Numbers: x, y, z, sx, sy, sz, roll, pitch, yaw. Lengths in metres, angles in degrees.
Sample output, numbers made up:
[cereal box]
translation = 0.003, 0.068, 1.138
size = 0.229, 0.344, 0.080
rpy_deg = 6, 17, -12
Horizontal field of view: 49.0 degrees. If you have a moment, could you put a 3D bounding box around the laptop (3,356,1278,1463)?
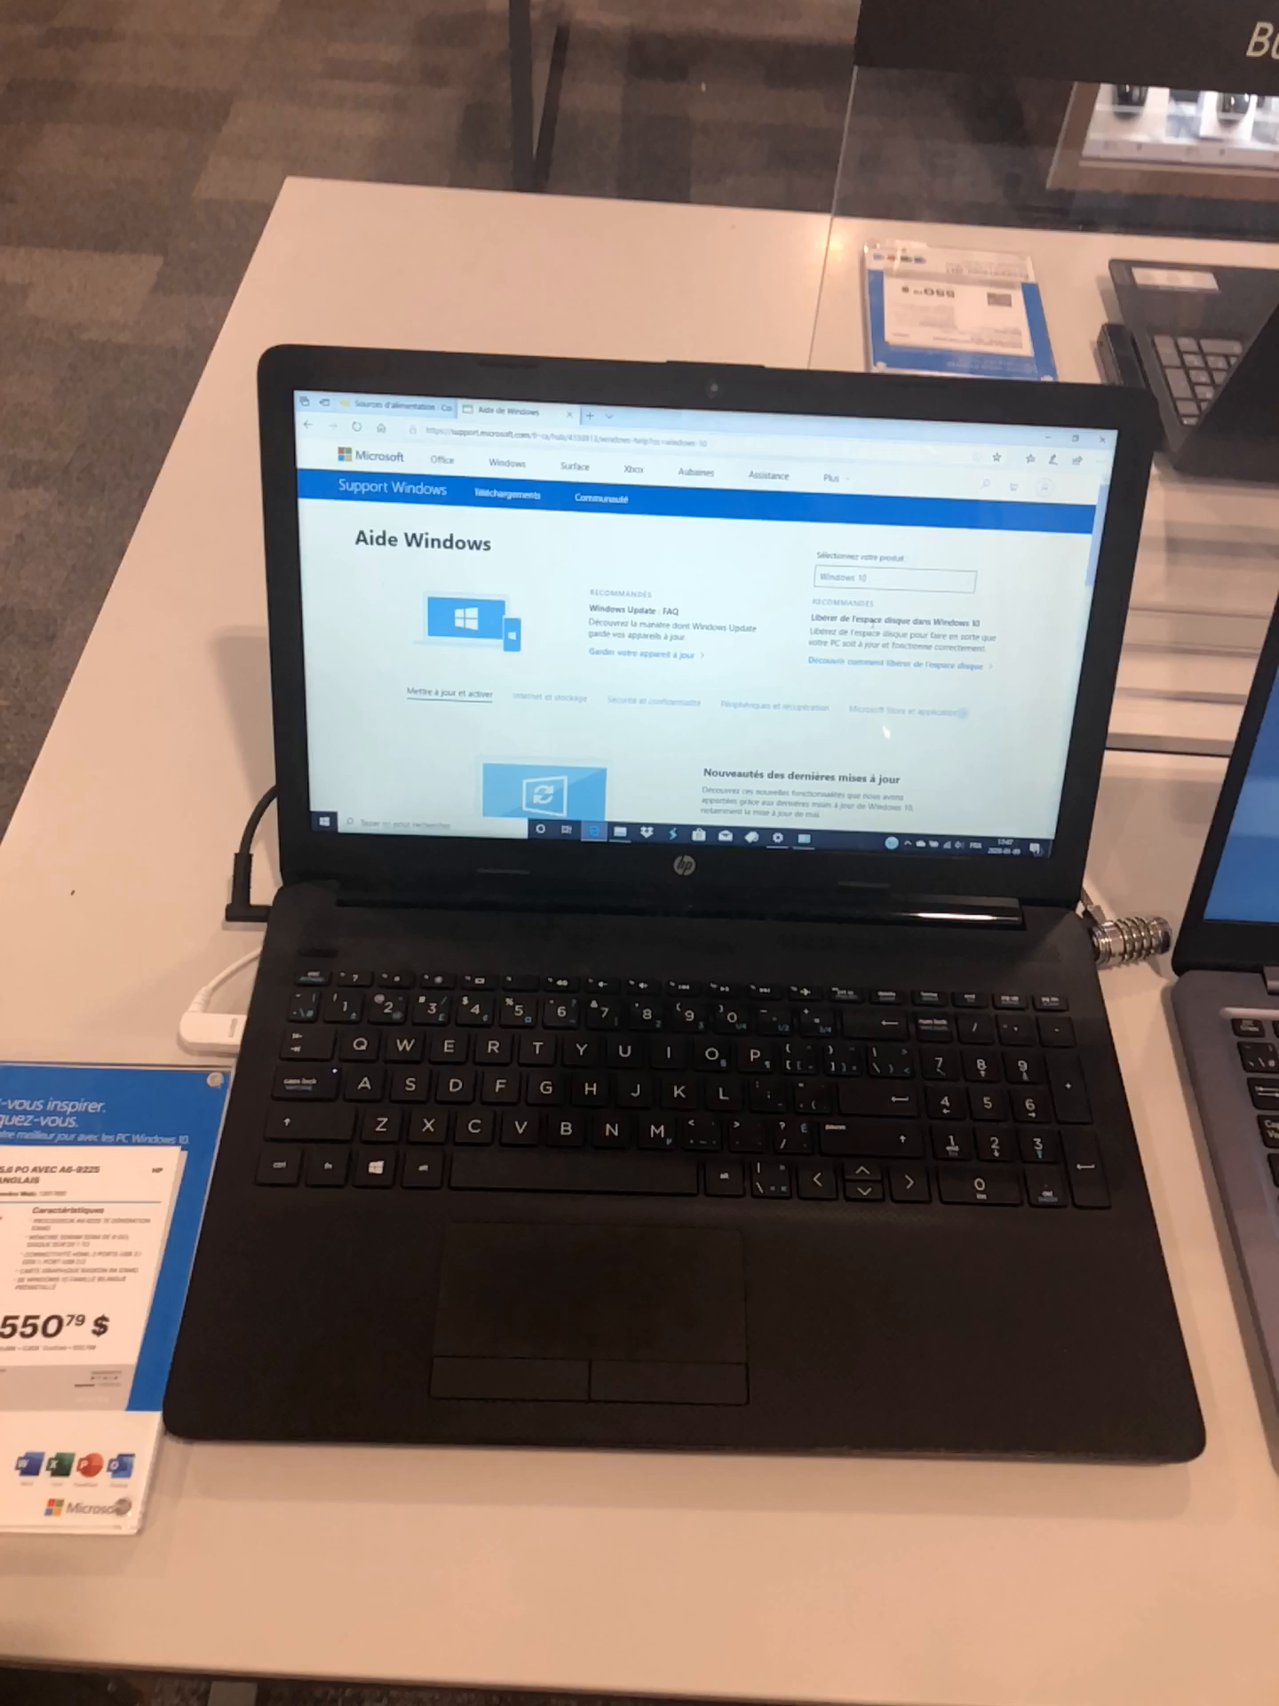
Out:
[laptop]
translation = 0.022, 0.005, 0.529
size = 0.356, 0.195, 0.360
rpy_deg = 2, 50, -1
